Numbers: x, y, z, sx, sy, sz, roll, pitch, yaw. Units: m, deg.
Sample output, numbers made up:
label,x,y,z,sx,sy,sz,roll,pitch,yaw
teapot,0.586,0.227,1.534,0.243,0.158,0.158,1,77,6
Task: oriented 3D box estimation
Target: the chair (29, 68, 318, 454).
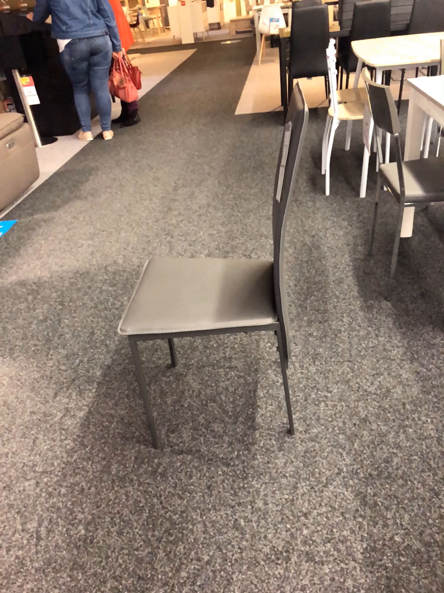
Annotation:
label,x,y,z,sx,sy,sz,roll,pitch,yaw
chair,-0.031,-0.068,1.361,0.560,0.935,0.473,-2,32,8
